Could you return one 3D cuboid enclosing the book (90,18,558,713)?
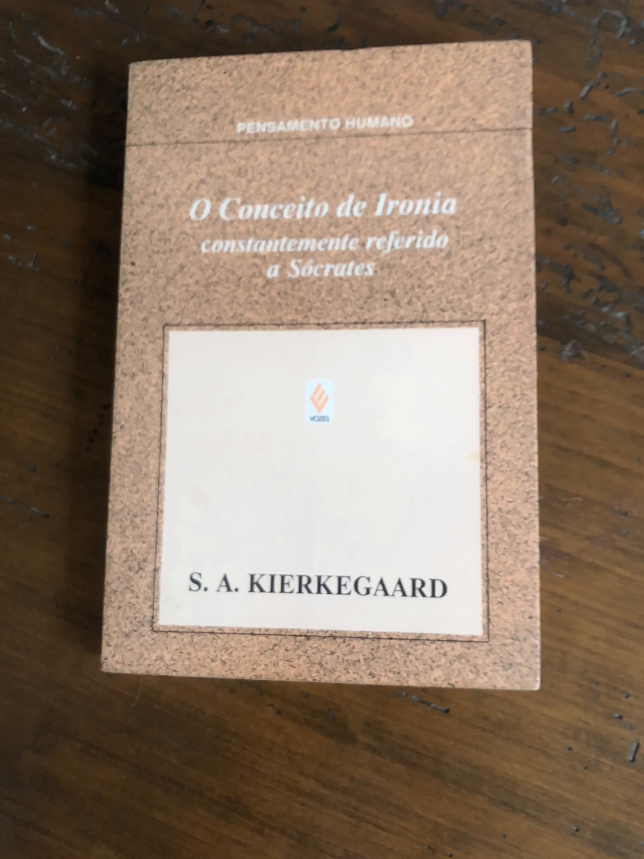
[{"bbox_3d":[0.001,-0.025,0.246,0.144,0.024,0.220,0,84,6],"label":"book"}]
